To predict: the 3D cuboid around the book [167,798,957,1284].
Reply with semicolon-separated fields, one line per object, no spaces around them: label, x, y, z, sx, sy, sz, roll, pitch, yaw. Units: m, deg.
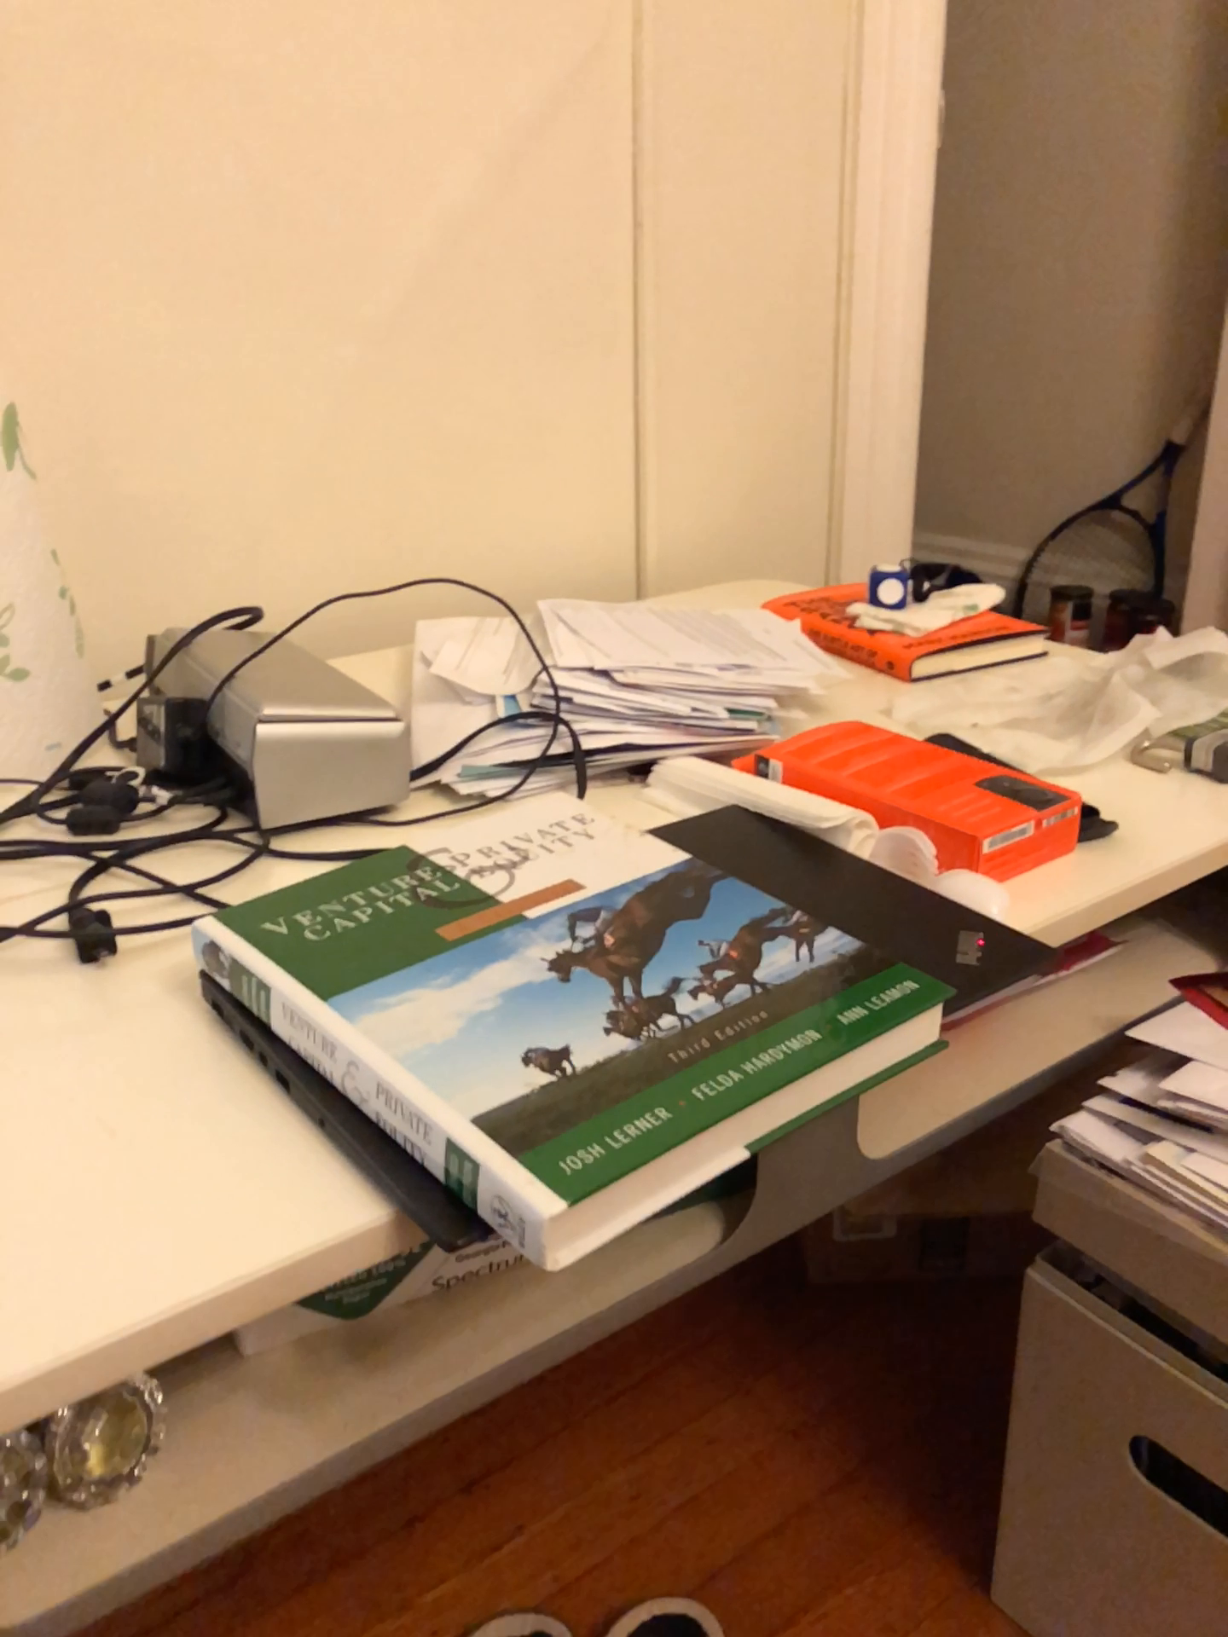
book;-0.031;0.069;0.590;0.221;0.030;0.271;-18;28;-37
